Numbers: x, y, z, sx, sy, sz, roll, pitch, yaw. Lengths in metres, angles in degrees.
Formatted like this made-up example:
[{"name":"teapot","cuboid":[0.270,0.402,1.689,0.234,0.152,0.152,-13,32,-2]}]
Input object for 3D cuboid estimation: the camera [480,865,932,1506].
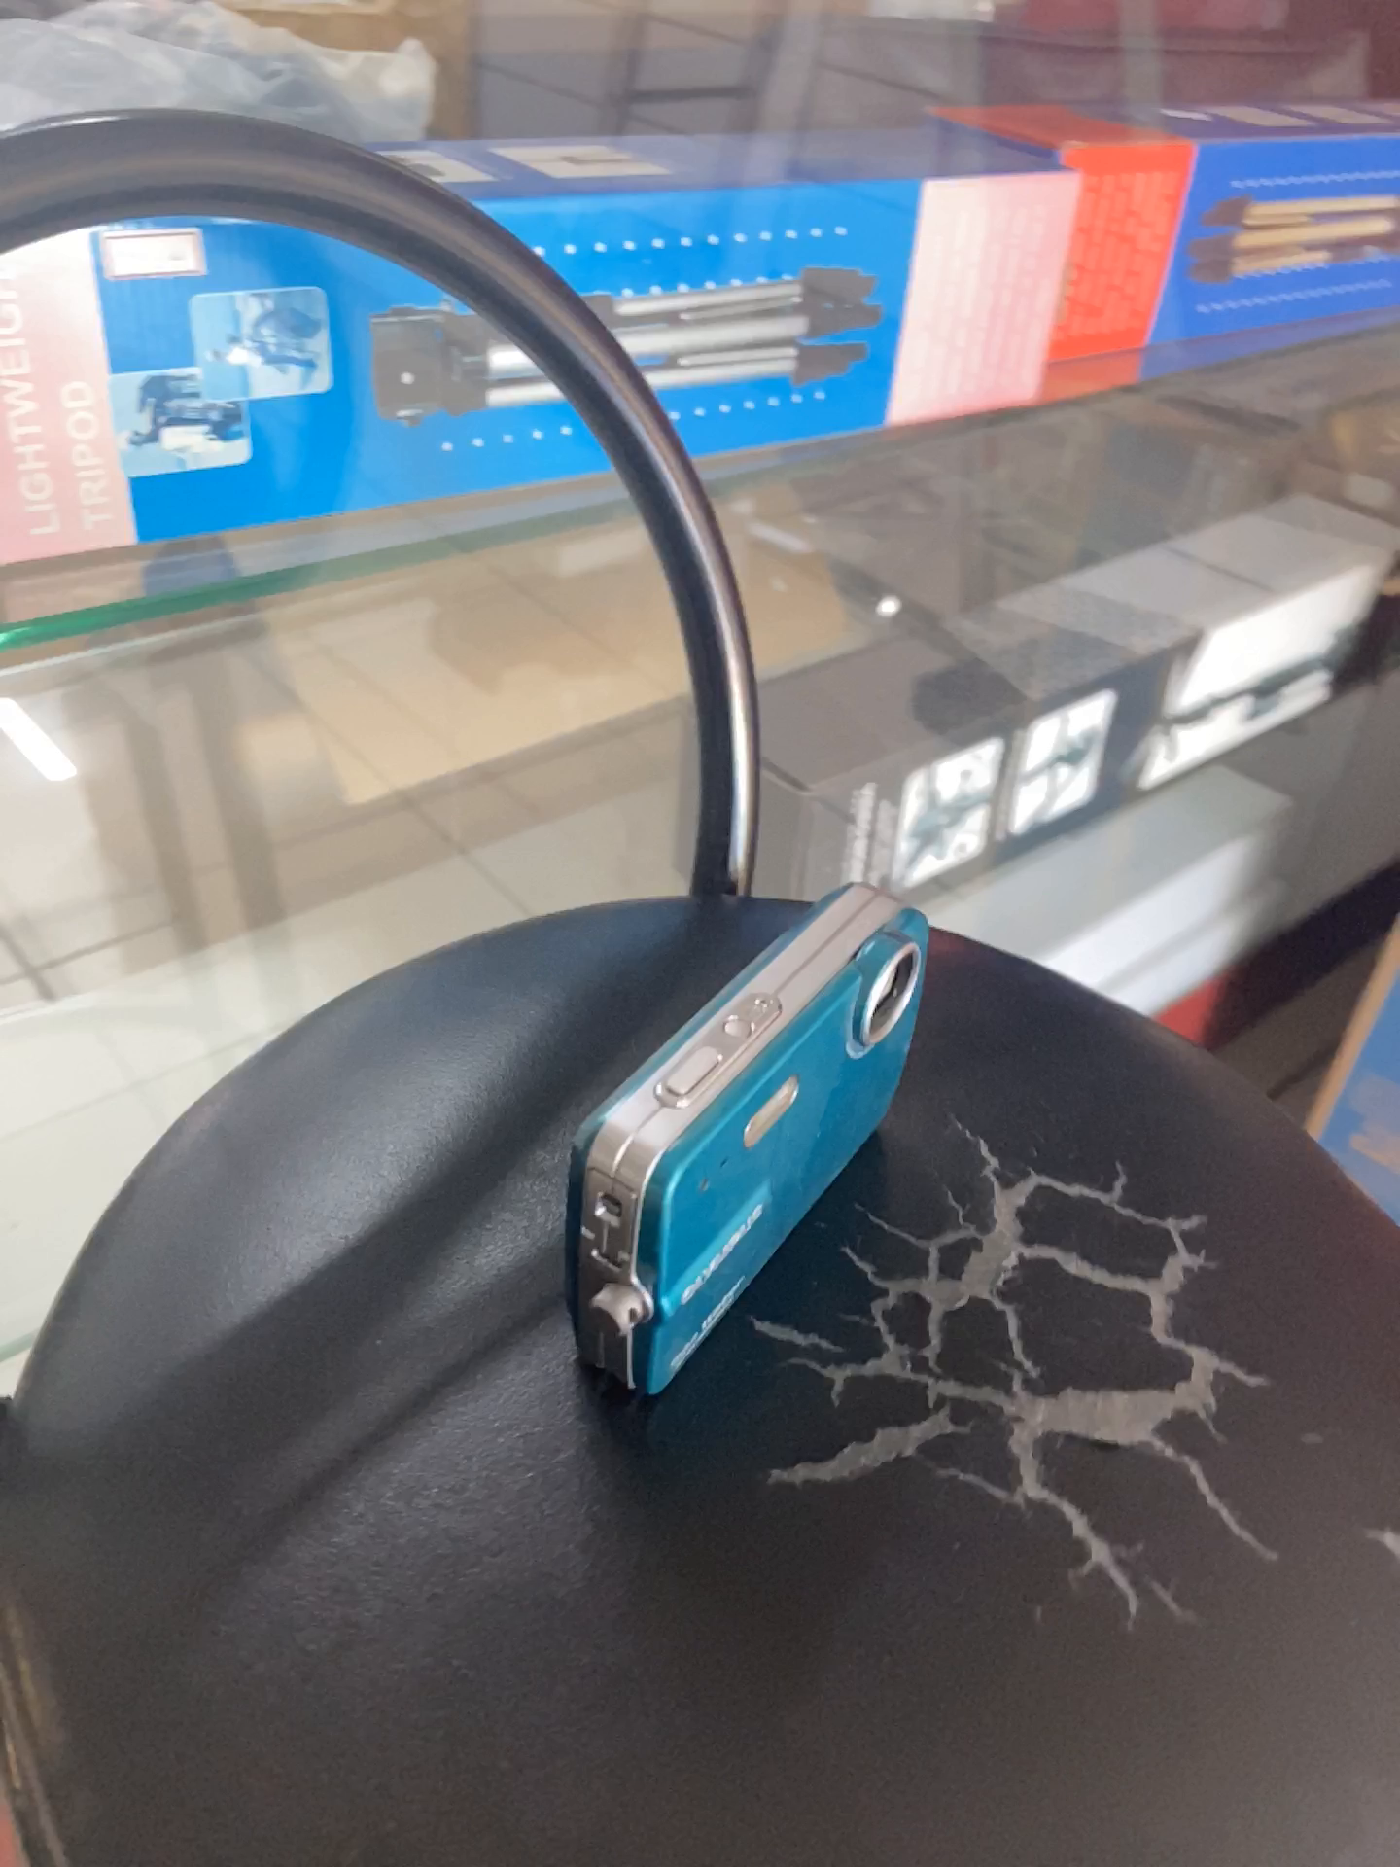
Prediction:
[{"name":"camera","cuboid":[0.003,0.043,0.275,0.030,0.070,0.101,24,41,23]}]
